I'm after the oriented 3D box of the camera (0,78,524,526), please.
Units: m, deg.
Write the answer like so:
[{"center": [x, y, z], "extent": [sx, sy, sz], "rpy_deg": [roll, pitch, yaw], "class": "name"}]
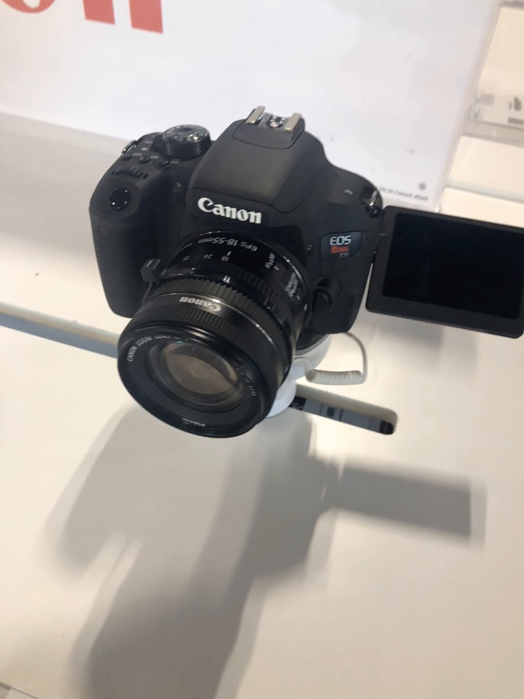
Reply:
[{"center": [0.020, -0.027, 0.248], "extent": [0.210, 0.099, 0.111], "rpy_deg": [14, 47, 9], "class": "camera"}]
